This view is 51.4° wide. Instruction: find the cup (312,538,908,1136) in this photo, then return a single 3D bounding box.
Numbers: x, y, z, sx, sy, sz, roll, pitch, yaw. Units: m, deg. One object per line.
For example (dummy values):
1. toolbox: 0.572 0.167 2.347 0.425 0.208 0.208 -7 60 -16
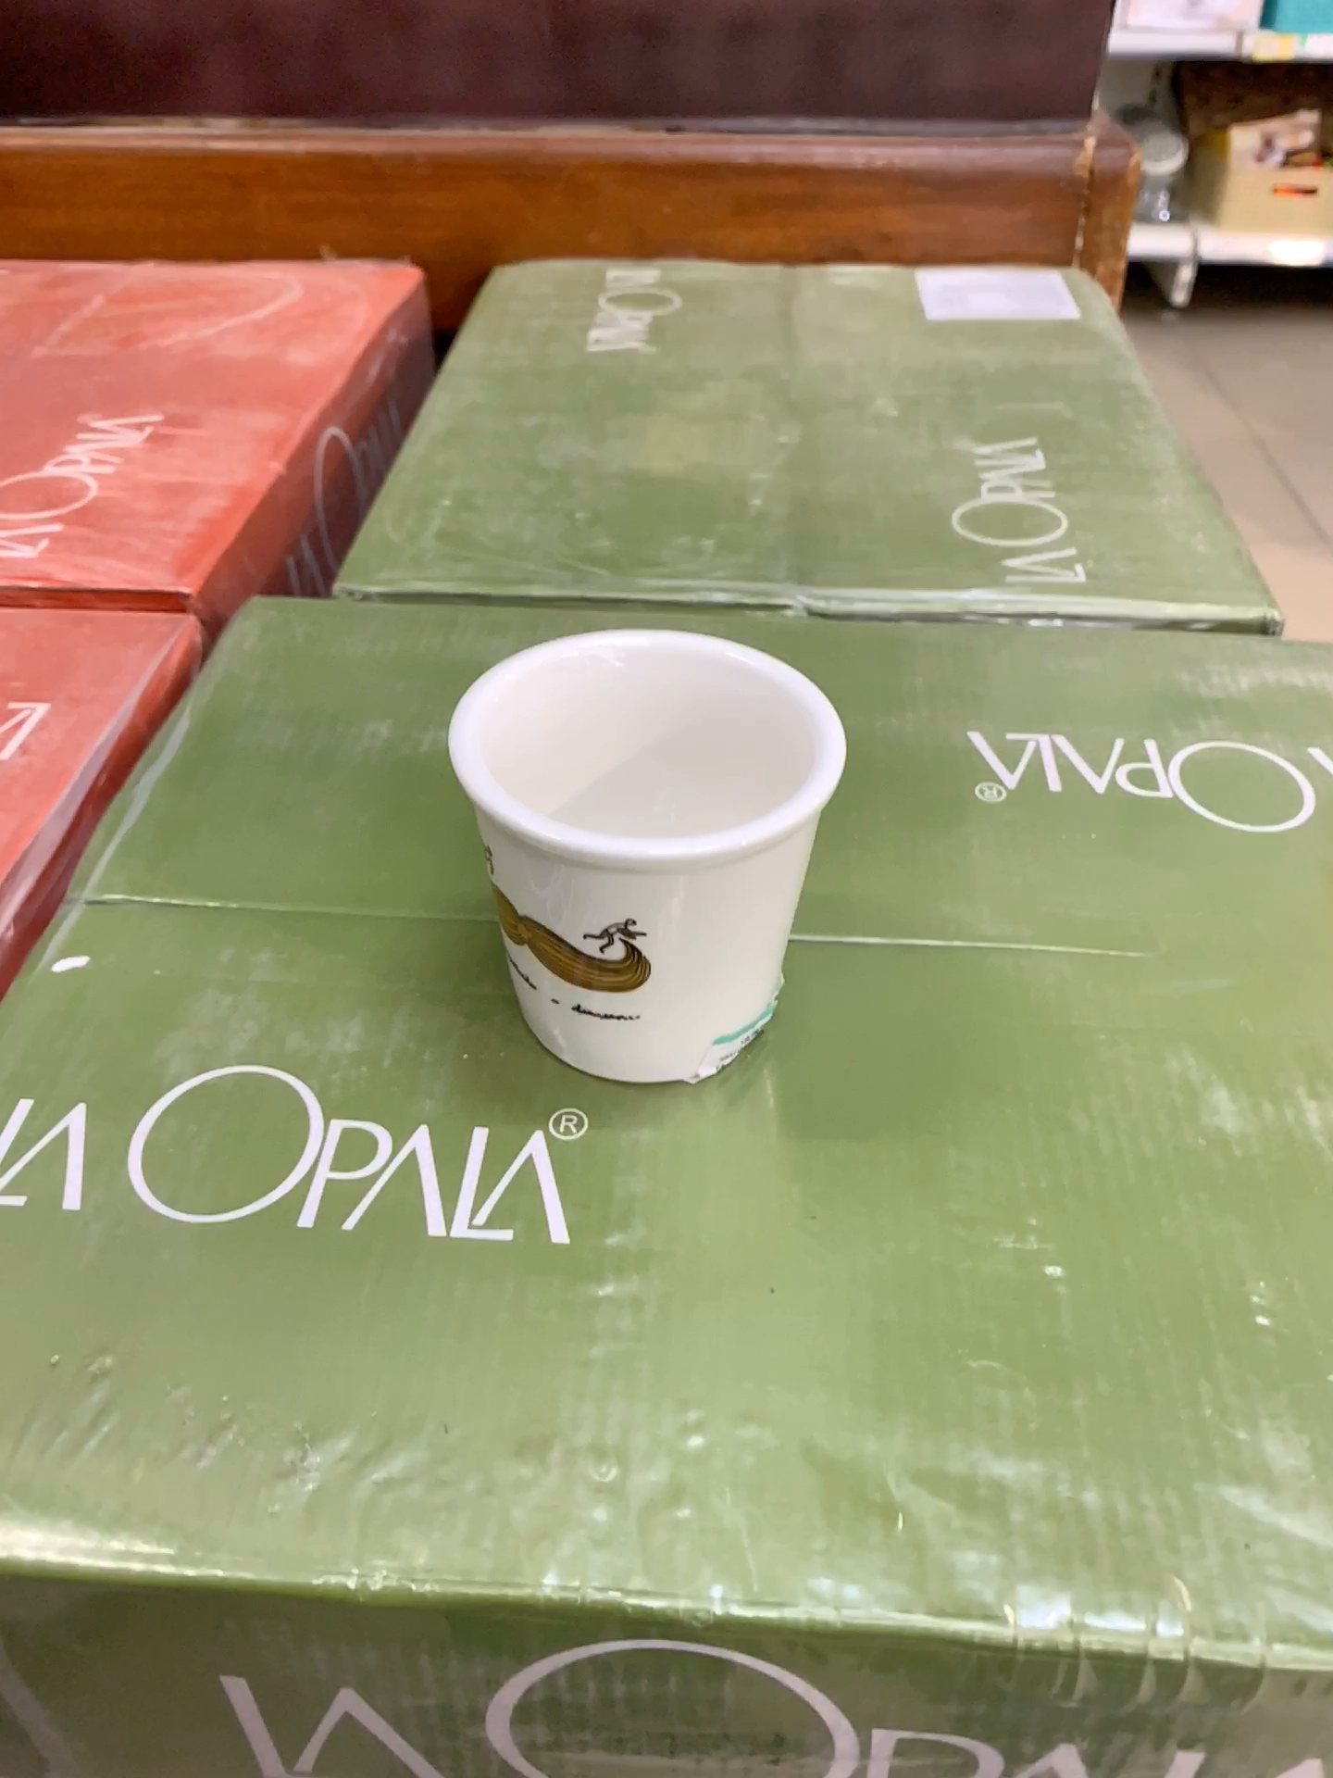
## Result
1. cup: -0.008 -0.013 0.248 0.070 0.060 0.070 0 39 0
